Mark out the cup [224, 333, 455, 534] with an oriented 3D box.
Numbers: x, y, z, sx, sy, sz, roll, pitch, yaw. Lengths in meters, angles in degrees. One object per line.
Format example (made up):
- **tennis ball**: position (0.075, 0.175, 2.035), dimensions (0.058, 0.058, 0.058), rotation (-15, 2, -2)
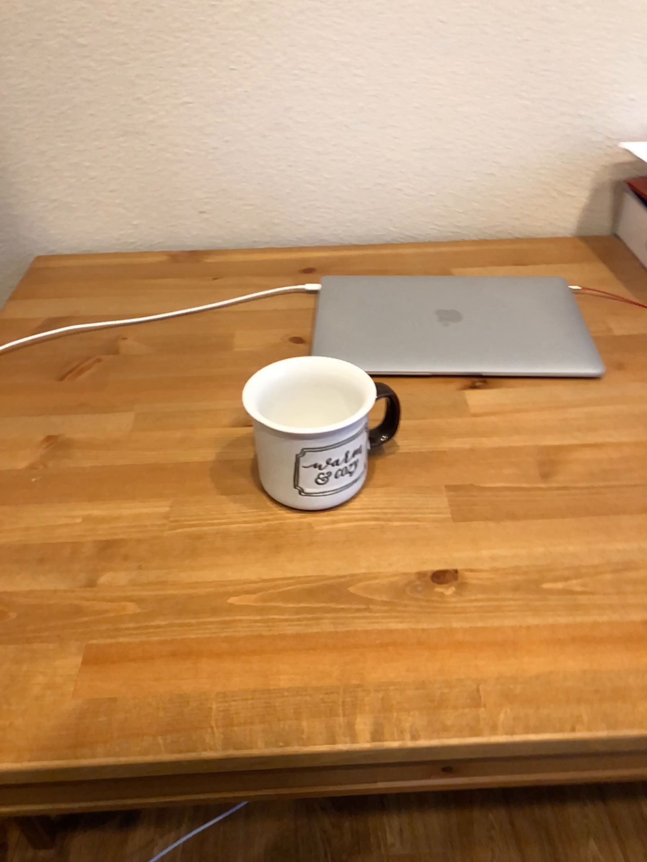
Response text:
- **cup**: position (0.010, -0.004, 0.600), dimensions (0.150, 0.080, 0.120), rotation (-15, 39, -17)
